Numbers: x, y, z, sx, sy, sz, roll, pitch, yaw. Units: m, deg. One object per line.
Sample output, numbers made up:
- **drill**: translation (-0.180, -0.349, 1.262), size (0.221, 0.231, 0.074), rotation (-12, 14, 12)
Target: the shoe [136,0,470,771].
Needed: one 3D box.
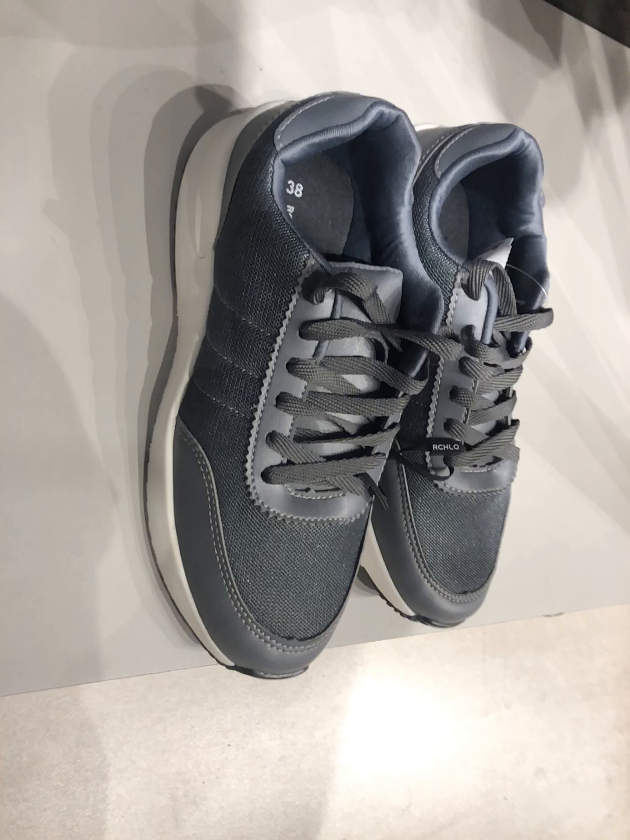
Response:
- **shoe**: translation (-0.011, -0.015, 0.320), size (0.111, 0.099, 0.280), rotation (3, 83, -33)

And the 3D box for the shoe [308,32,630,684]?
- **shoe**: translation (0.077, -0.027, 0.368), size (0.111, 0.099, 0.280), rotation (0, 84, -33)
